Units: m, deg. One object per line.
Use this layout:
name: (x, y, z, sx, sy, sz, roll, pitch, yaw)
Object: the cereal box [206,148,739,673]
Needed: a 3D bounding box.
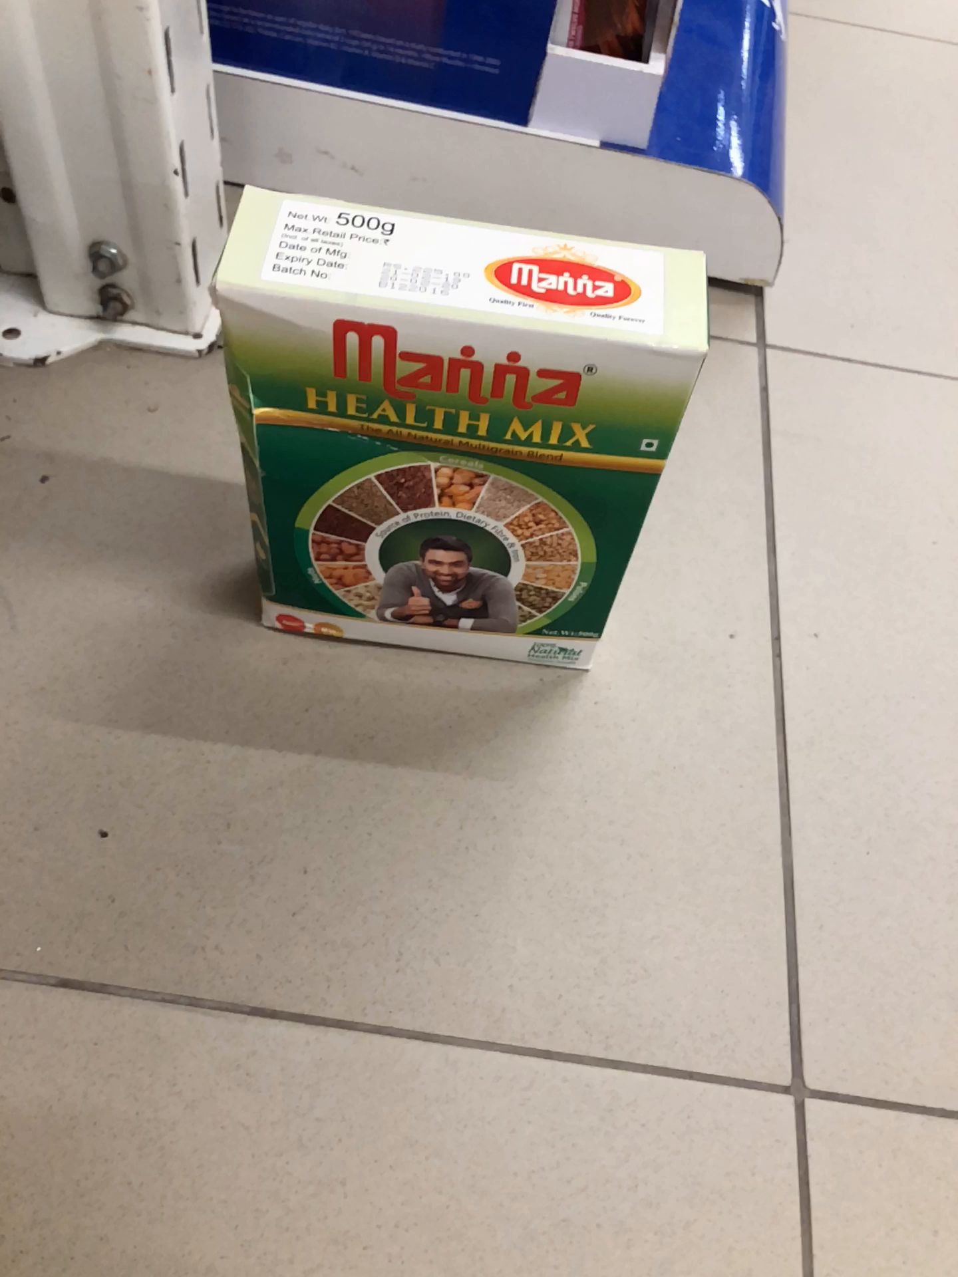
cereal box: (-0.011, -0.066, 0.389, 0.150, 0.189, 0.050, 7, 56, -4)
